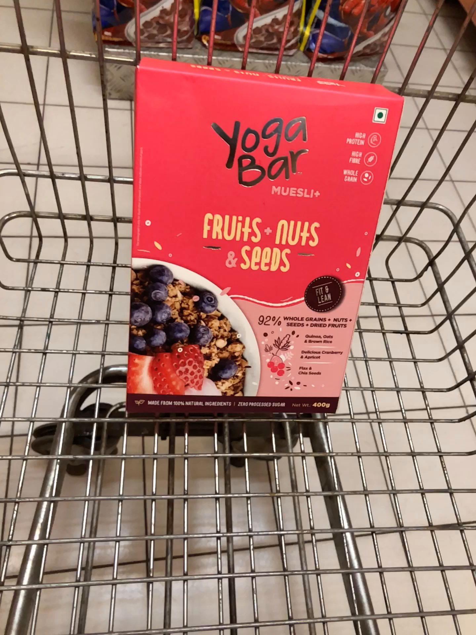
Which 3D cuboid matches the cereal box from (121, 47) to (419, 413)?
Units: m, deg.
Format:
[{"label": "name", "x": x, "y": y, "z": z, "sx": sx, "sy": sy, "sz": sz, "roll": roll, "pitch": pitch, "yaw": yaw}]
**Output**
[{"label": "cereal box", "x": 0.008, "y": -0.049, "z": 0.379, "sx": 0.170, "sy": 0.239, "sz": 0.060, "roll": 3, "pitch": 26, "yaw": -10}]
